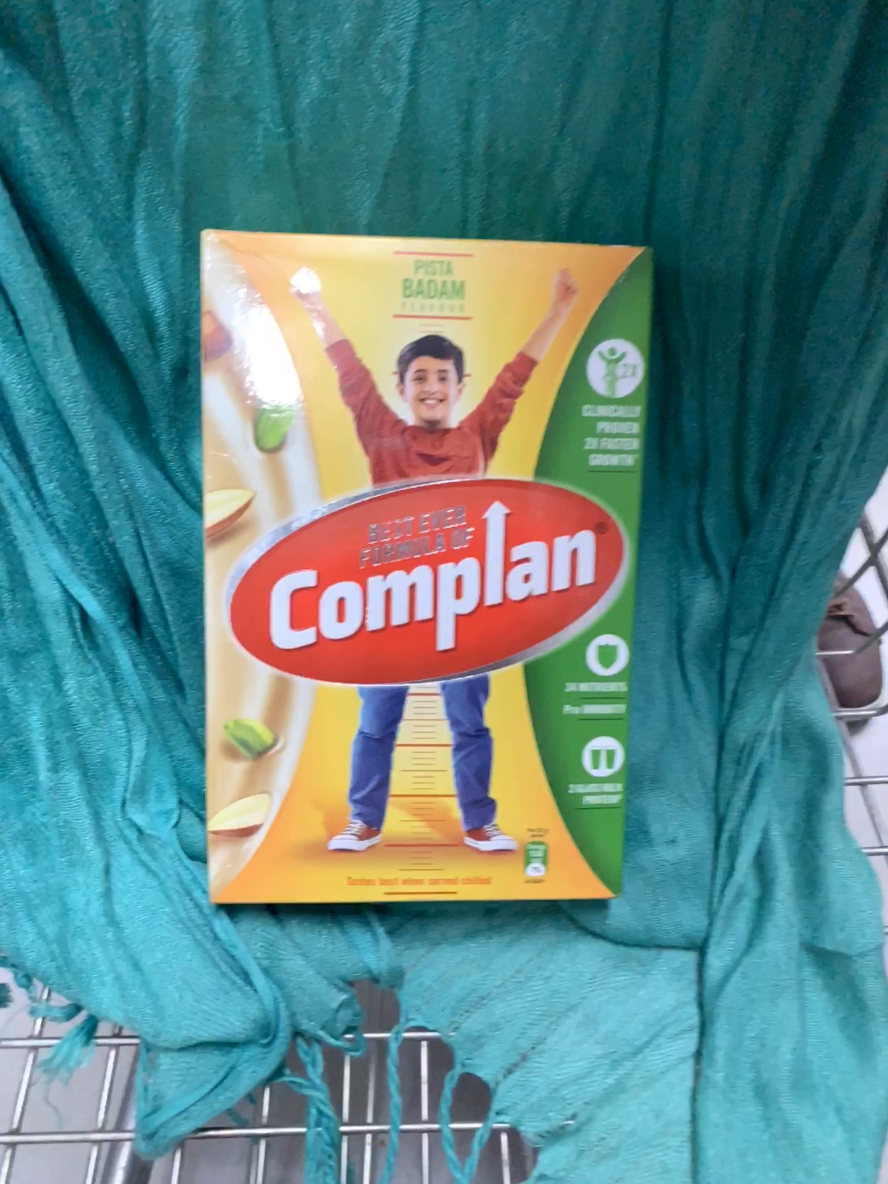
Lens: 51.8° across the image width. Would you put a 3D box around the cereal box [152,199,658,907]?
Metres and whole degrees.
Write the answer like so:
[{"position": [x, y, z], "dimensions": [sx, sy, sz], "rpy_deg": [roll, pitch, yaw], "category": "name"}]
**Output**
[{"position": [-0.011, -0.011, 0.292], "dimensions": [0.140, 0.060, 0.200], "rpy_deg": [-1, 95, -4], "category": "cereal box"}]
